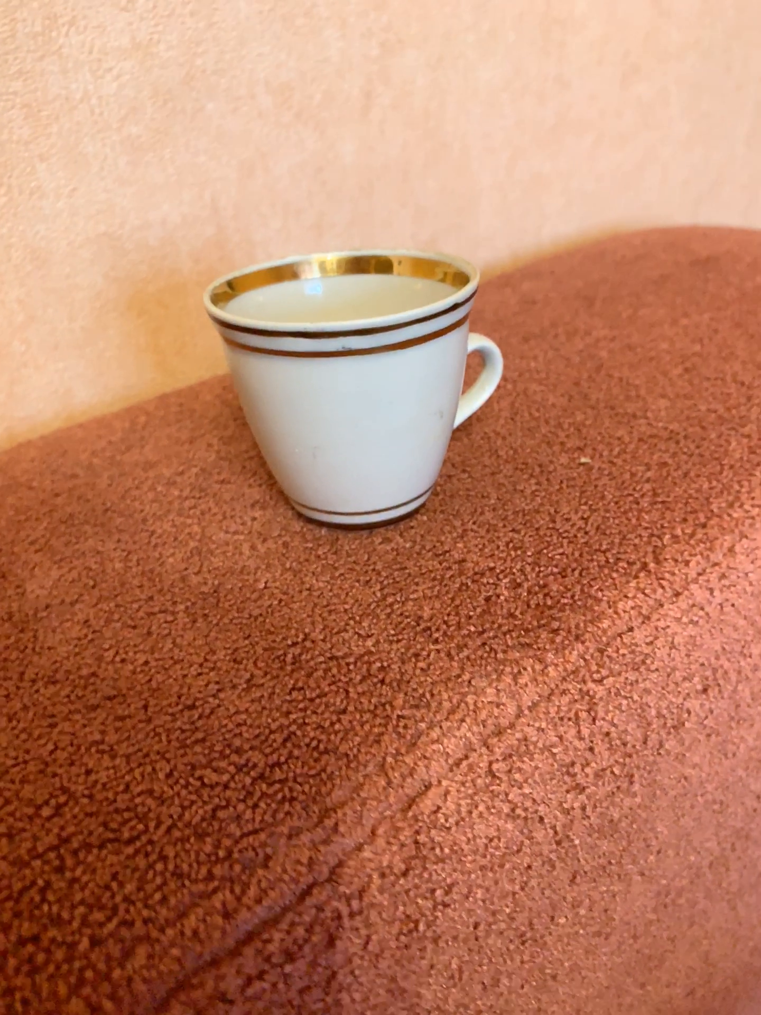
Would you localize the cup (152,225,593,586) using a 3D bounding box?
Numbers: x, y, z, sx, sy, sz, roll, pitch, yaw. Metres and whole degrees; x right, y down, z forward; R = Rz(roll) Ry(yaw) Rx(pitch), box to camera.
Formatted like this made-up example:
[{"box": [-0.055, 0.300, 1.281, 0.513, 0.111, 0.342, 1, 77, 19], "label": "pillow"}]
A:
[{"box": [-0.002, -0.029, 0.185, 0.078, 0.048, 0.055, -20, 35, -24], "label": "cup"}]
